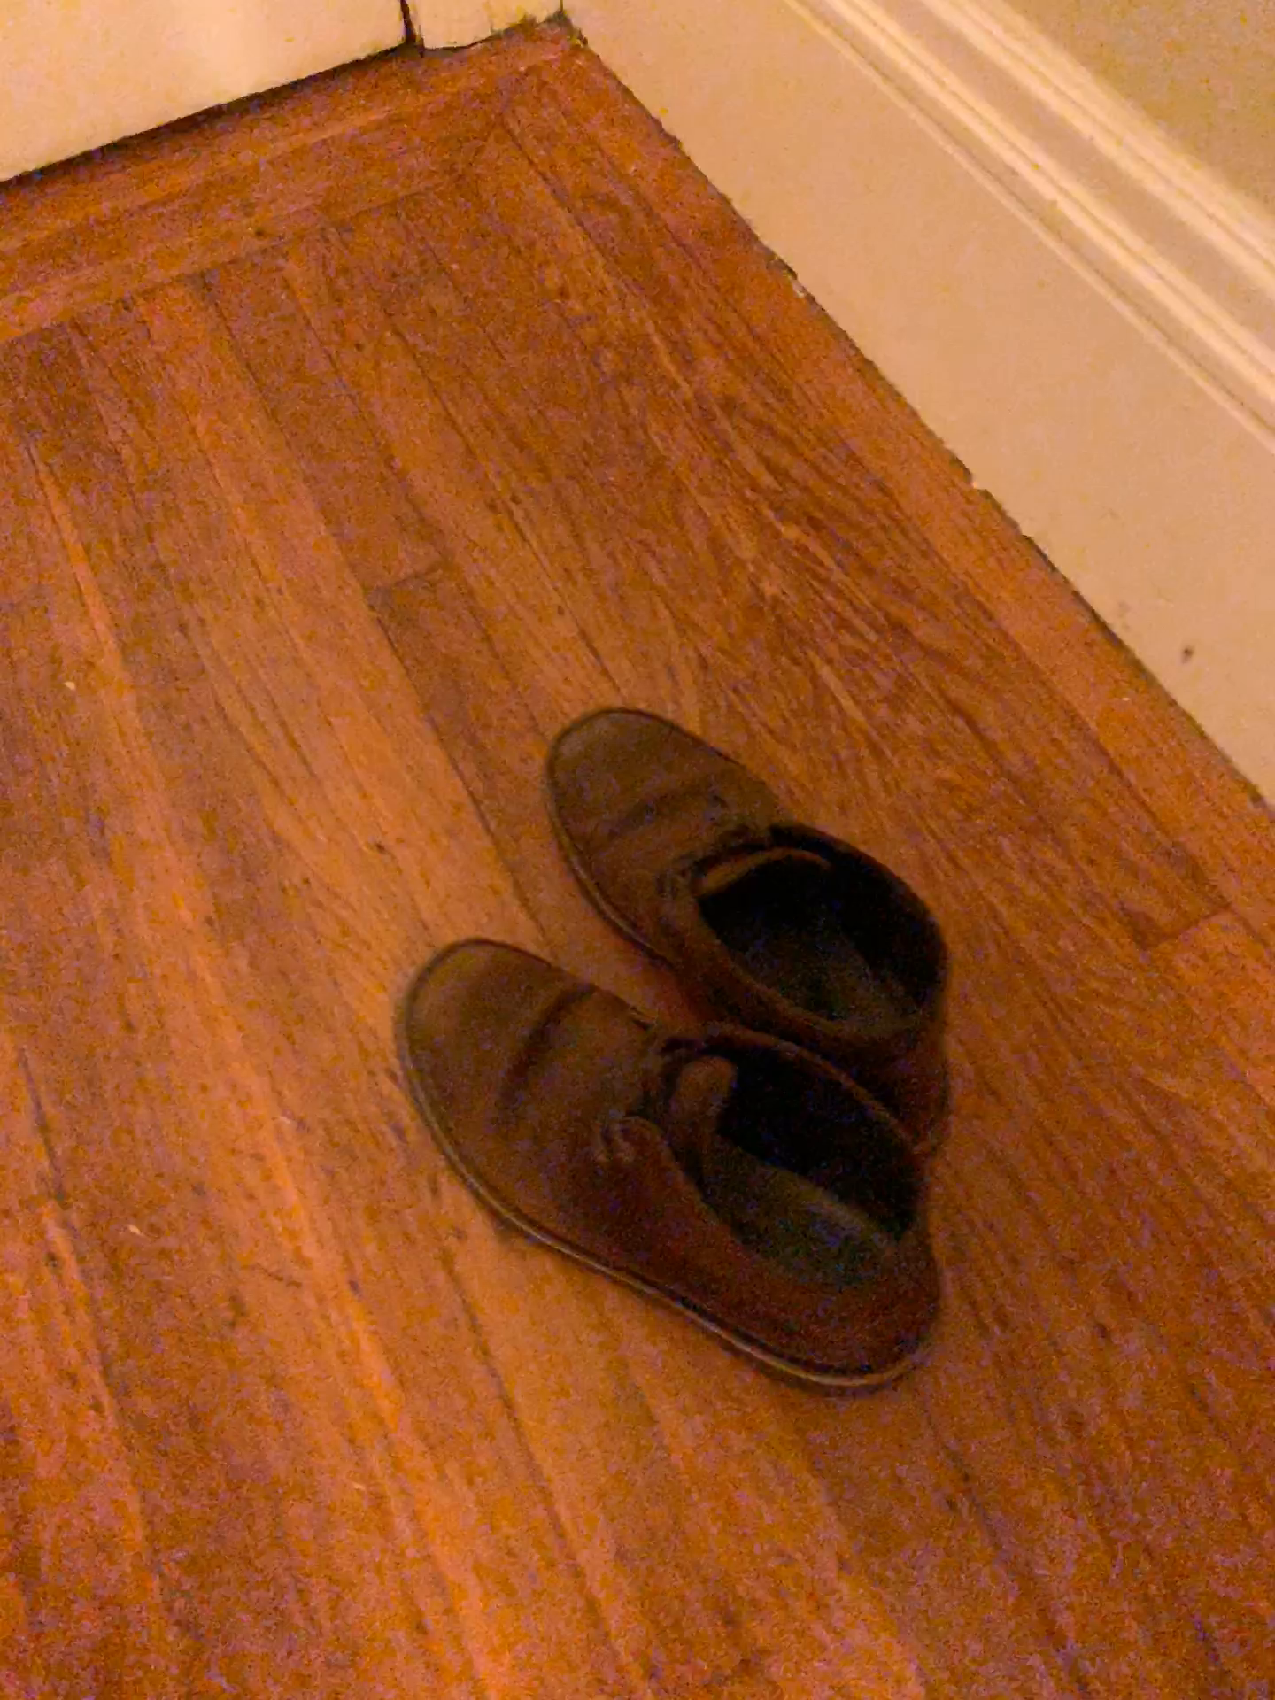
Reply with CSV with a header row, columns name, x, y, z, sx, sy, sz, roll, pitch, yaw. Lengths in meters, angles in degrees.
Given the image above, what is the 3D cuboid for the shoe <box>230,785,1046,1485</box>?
name,x,y,z,sx,sy,sz,roll,pitch,yaw
shoe,-0.004,0.116,0.553,0.300,0.120,0.120,30,67,19

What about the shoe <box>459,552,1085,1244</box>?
name,x,y,z,sx,sy,sz,roll,pitch,yaw
shoe,0.050,0.016,0.615,0.120,0.120,0.291,-32,63,-13
